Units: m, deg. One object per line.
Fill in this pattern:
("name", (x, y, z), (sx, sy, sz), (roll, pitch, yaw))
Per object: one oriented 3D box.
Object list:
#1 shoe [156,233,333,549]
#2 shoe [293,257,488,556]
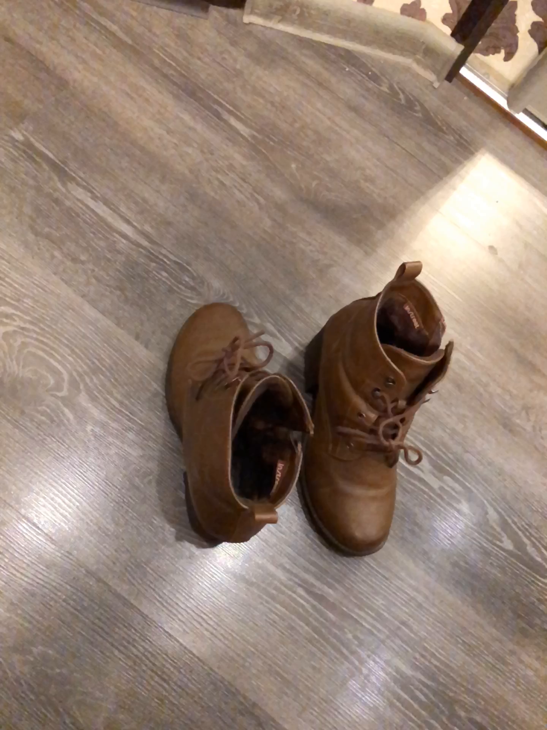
("shoe", (-0.039, 0.032, 0.508), (0.100, 0.169, 0.220), (-1, 72, -15))
("shoe", (0.086, 0.052, 0.538), (0.090, 0.189, 0.220), (5, 70, -13))
